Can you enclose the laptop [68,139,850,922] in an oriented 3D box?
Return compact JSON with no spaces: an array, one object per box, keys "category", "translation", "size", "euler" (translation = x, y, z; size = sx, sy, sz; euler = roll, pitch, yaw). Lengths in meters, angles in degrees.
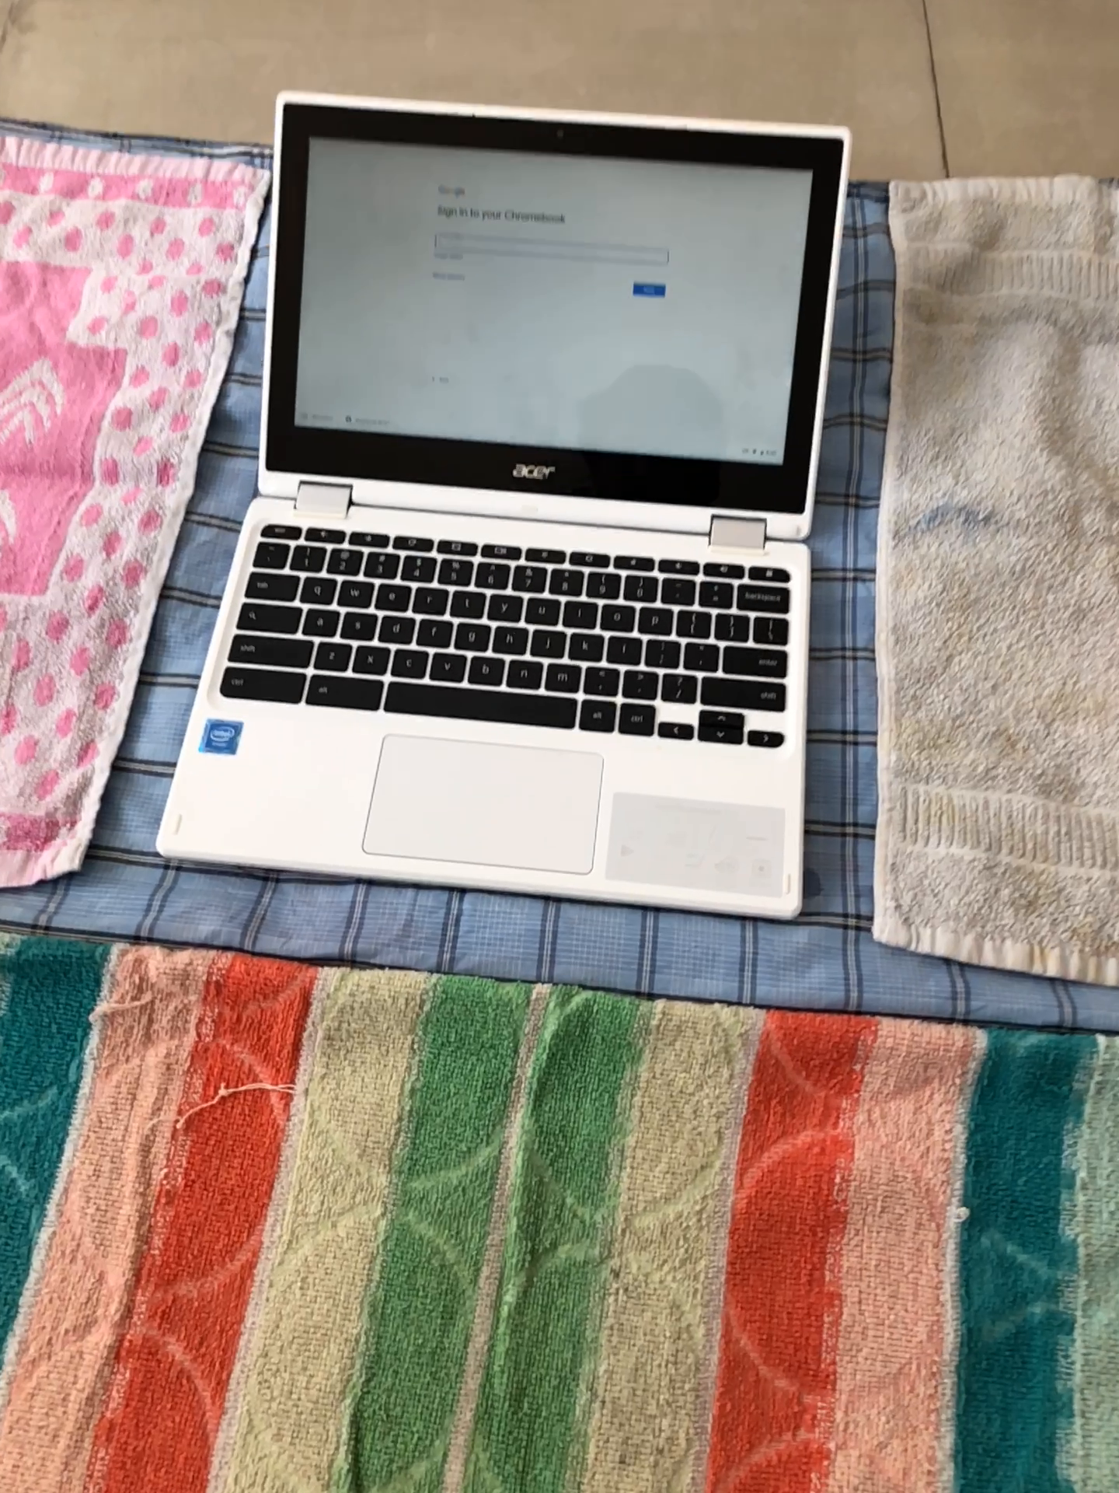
[{"category":"laptop","translation":[-0.019,-0.117,0.585],"size":[0.285,0.101,0.368],"euler":[6,63,3]}]
